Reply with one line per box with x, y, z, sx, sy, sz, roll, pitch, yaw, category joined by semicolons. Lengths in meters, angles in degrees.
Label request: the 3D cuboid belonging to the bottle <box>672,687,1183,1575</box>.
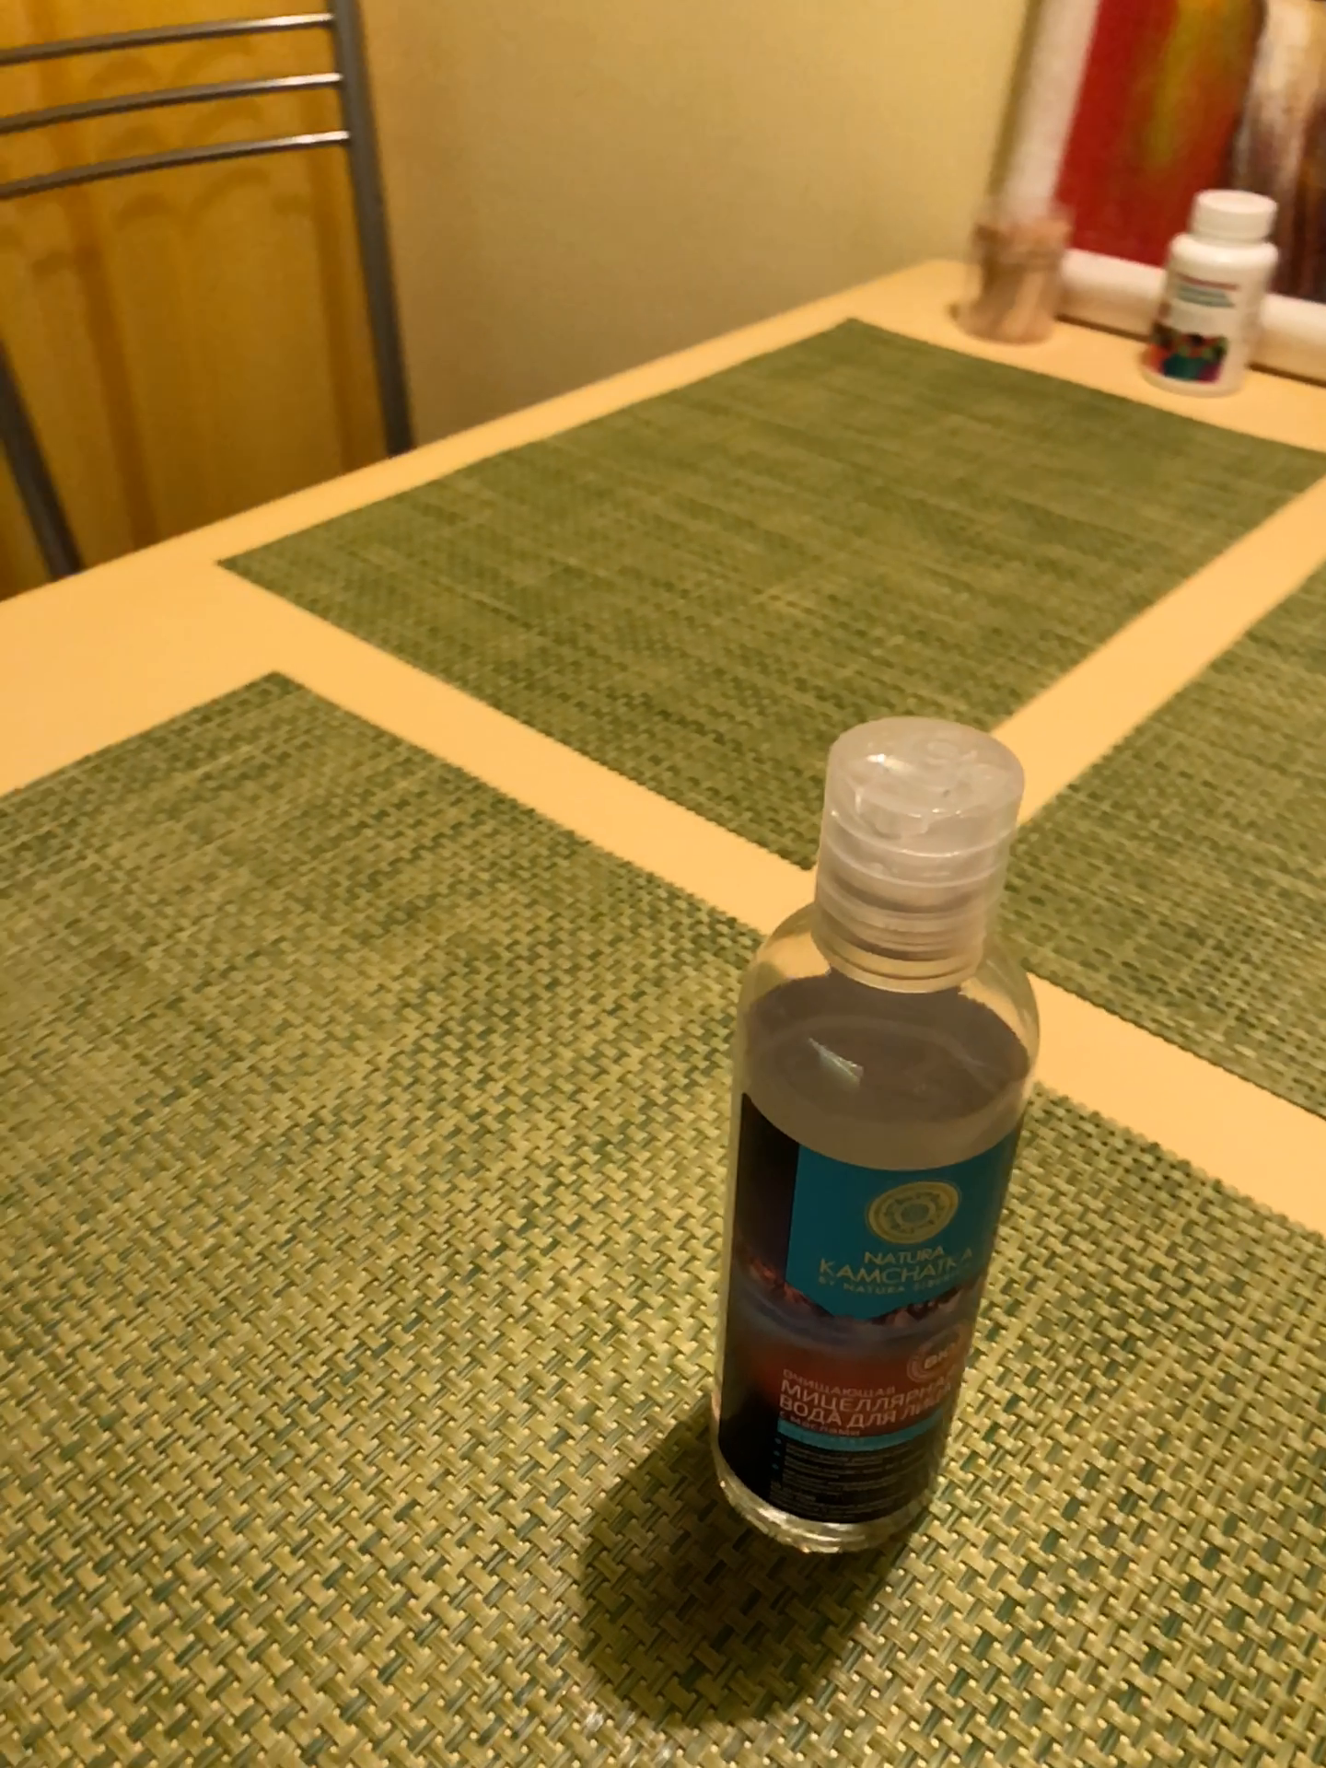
0.032;0.047;0.239;0.050;0.149;0.054;2;38;-1;bottle
